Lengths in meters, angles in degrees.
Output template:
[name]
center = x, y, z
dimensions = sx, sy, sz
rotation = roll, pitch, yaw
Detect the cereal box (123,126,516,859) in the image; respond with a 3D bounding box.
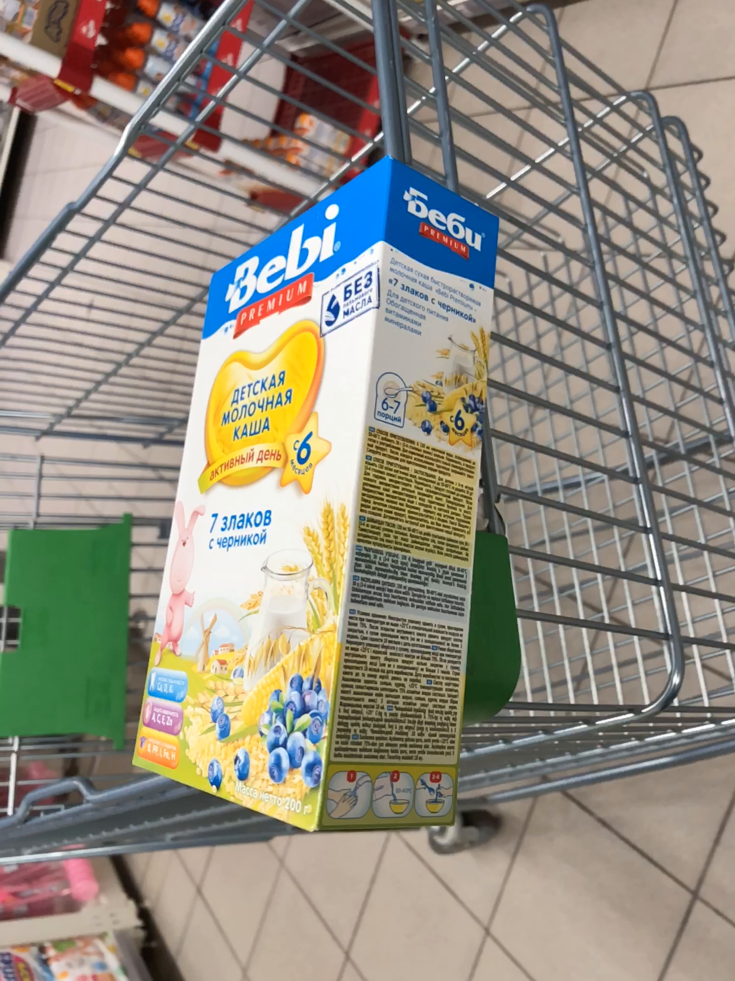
[cereal box]
center = -0.022, 0.004, 0.297
dimensions = 0.141, 0.050, 0.210
rotation = -11, 70, 52
